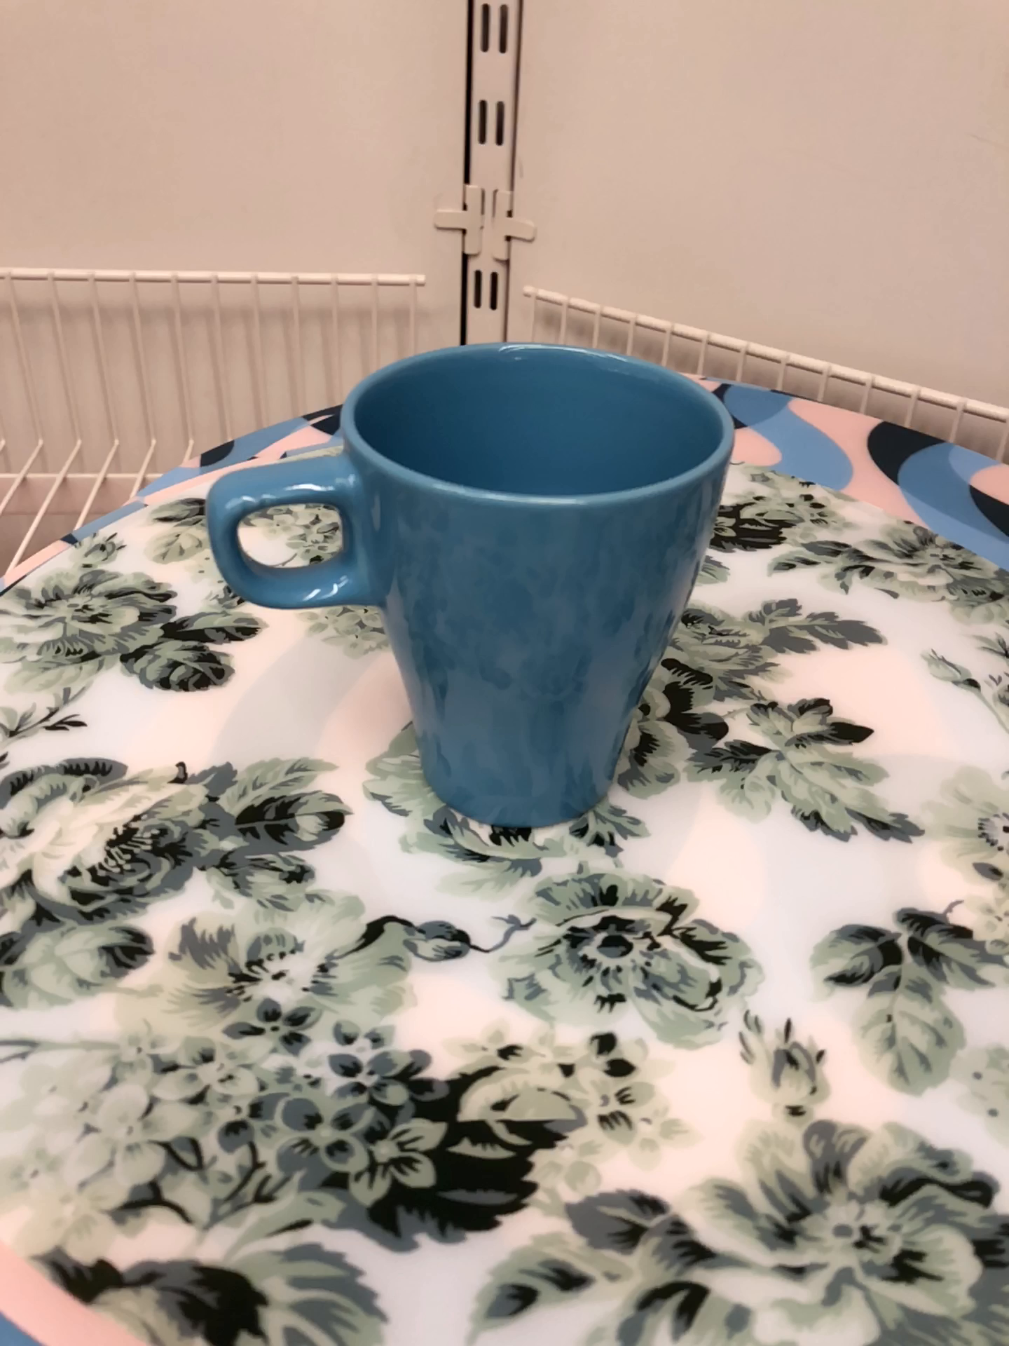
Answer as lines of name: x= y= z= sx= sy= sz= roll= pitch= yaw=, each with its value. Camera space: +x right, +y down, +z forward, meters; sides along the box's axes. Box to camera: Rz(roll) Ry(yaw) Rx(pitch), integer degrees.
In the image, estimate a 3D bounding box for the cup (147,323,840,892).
cup: x=-0.009 y=-0.023 z=0.254 sx=0.120 sy=0.080 sz=0.090 roll=-10 pitch=34 yaw=-19
